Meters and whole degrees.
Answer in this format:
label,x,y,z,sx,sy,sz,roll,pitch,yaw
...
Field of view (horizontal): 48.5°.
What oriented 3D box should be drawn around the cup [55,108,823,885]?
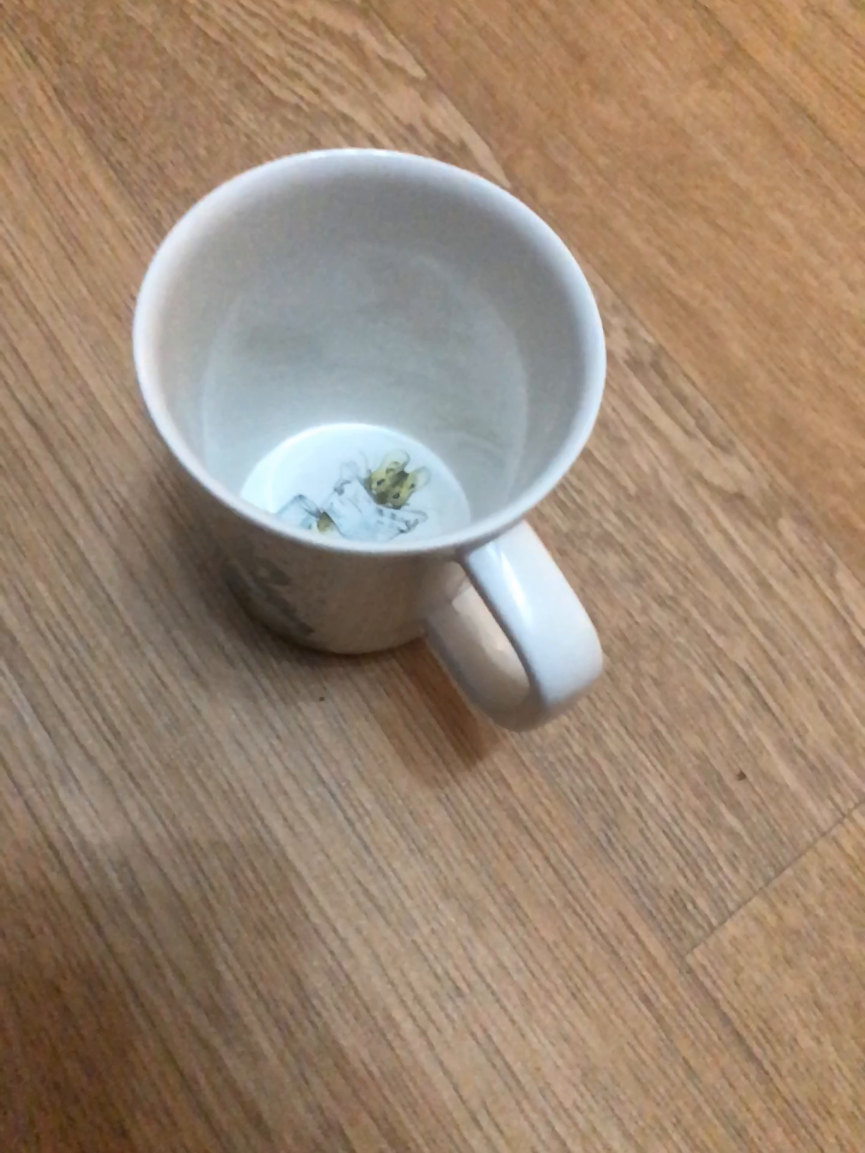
label,x,y,z,sx,sy,sz,roll,pitch,yaw
cup,-0.005,-0.011,0.193,0.080,0.080,0.110,-28,76,-16
